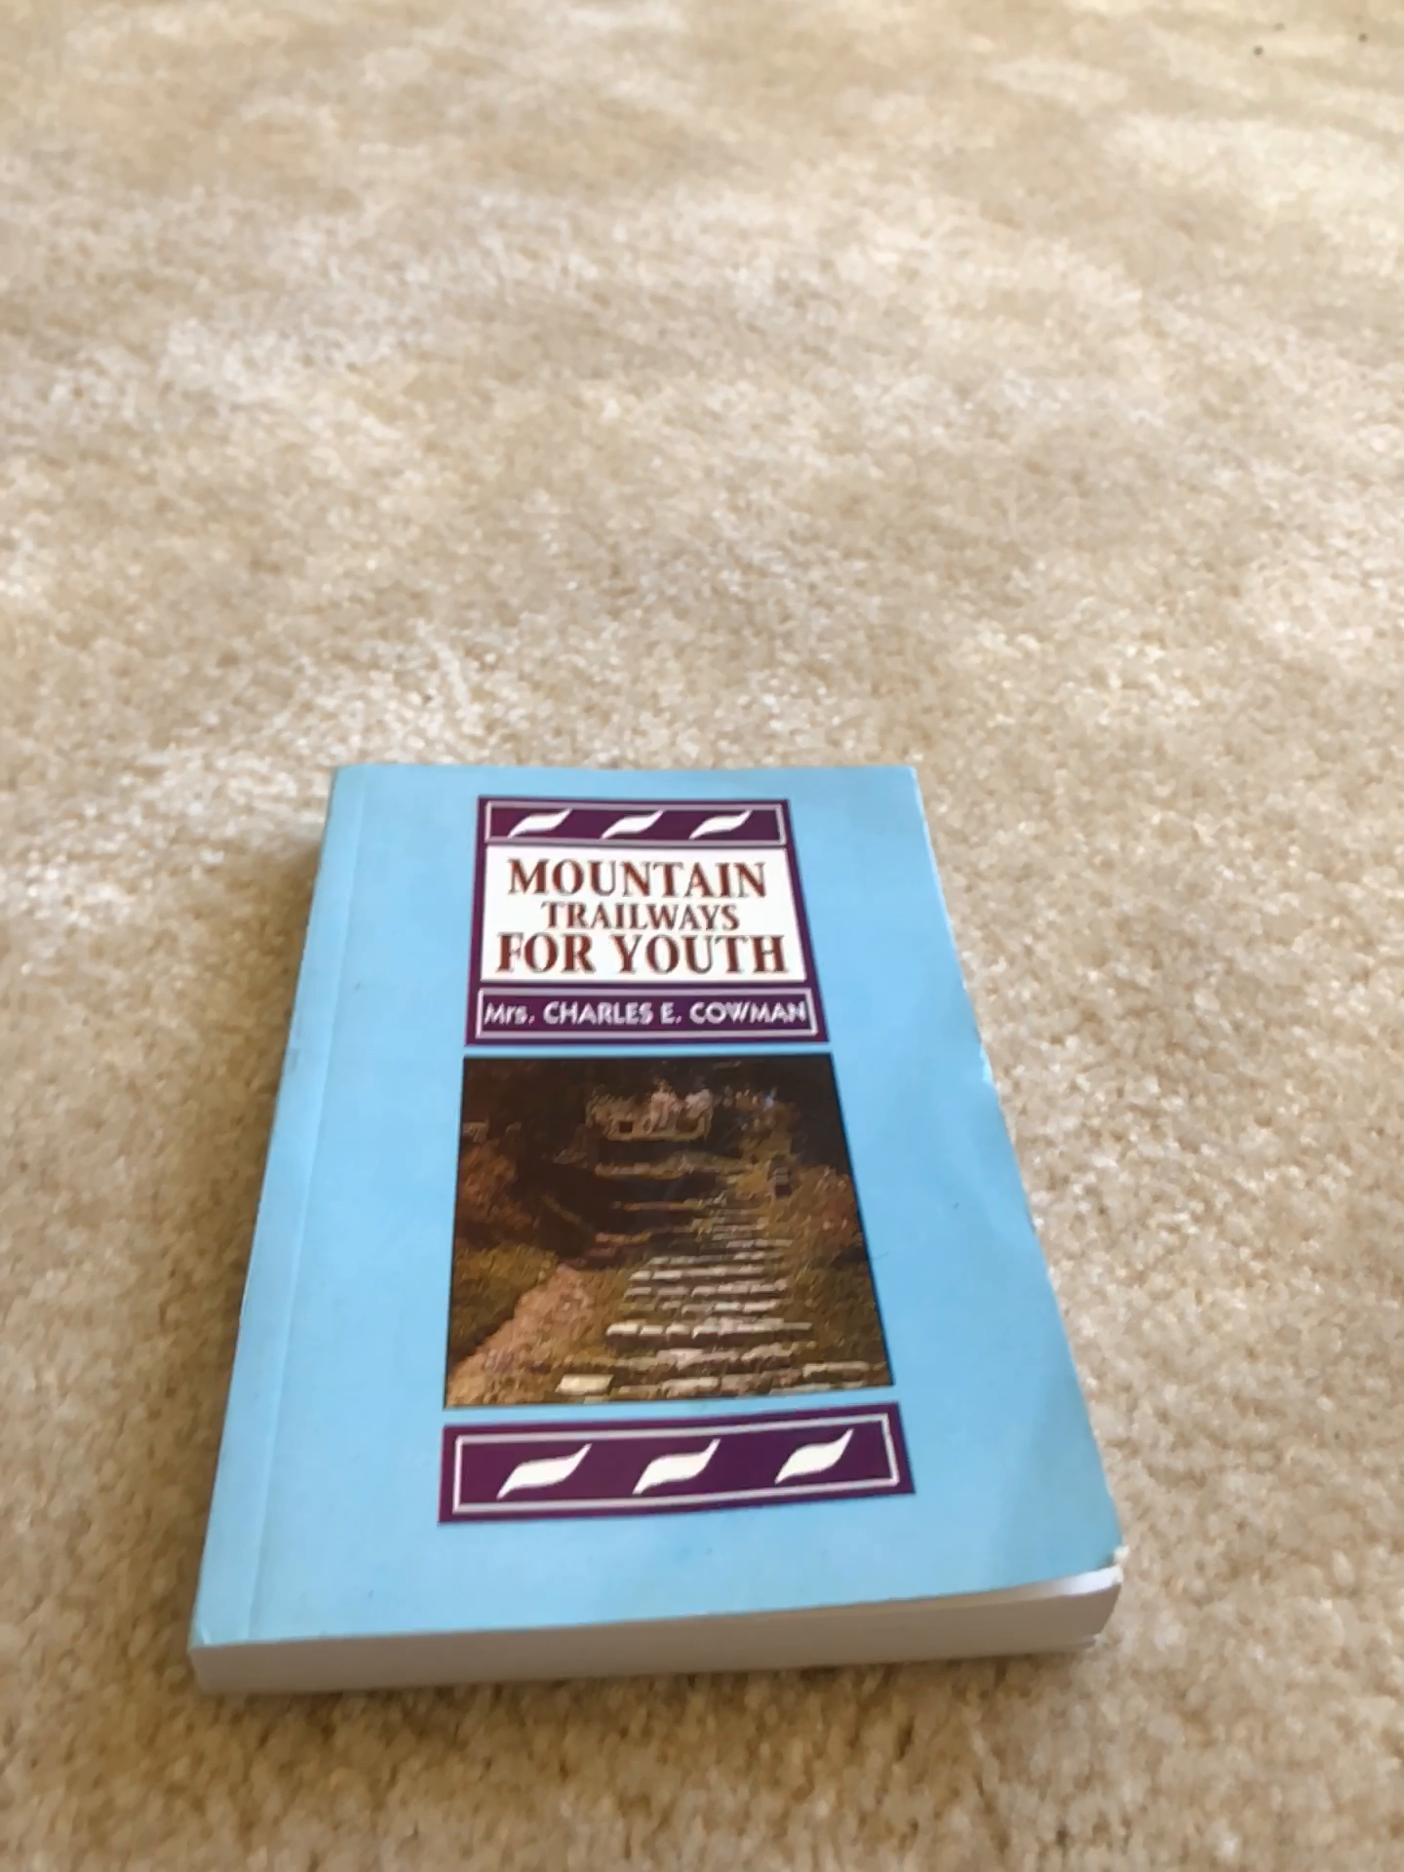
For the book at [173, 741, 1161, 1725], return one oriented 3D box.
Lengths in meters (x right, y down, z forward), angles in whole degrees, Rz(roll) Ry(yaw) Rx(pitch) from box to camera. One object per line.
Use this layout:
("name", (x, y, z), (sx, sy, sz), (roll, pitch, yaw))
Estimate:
("book", (-0.009, 0.033, 0.263), (0.122, 0.030, 0.171), (-2, 45, -3))
